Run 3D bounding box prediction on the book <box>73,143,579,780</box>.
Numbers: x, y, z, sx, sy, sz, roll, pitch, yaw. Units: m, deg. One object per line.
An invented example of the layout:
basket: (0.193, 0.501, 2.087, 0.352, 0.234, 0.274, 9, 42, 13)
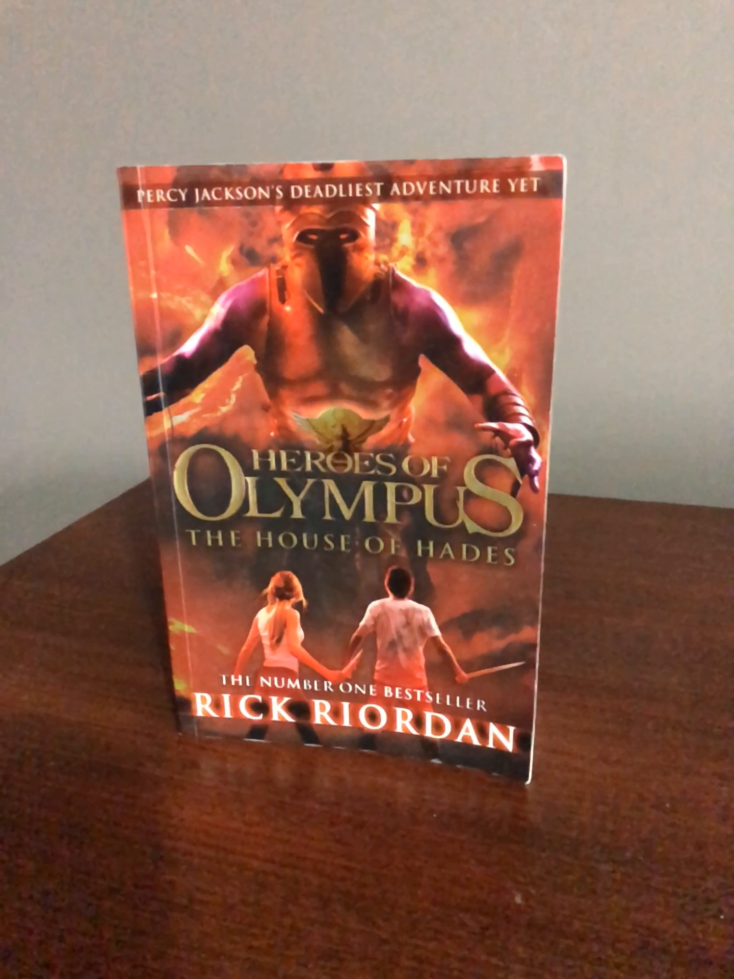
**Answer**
book: (-0.008, -0.009, 0.281, 0.140, 0.199, 0.060, 2, 20, 9)
